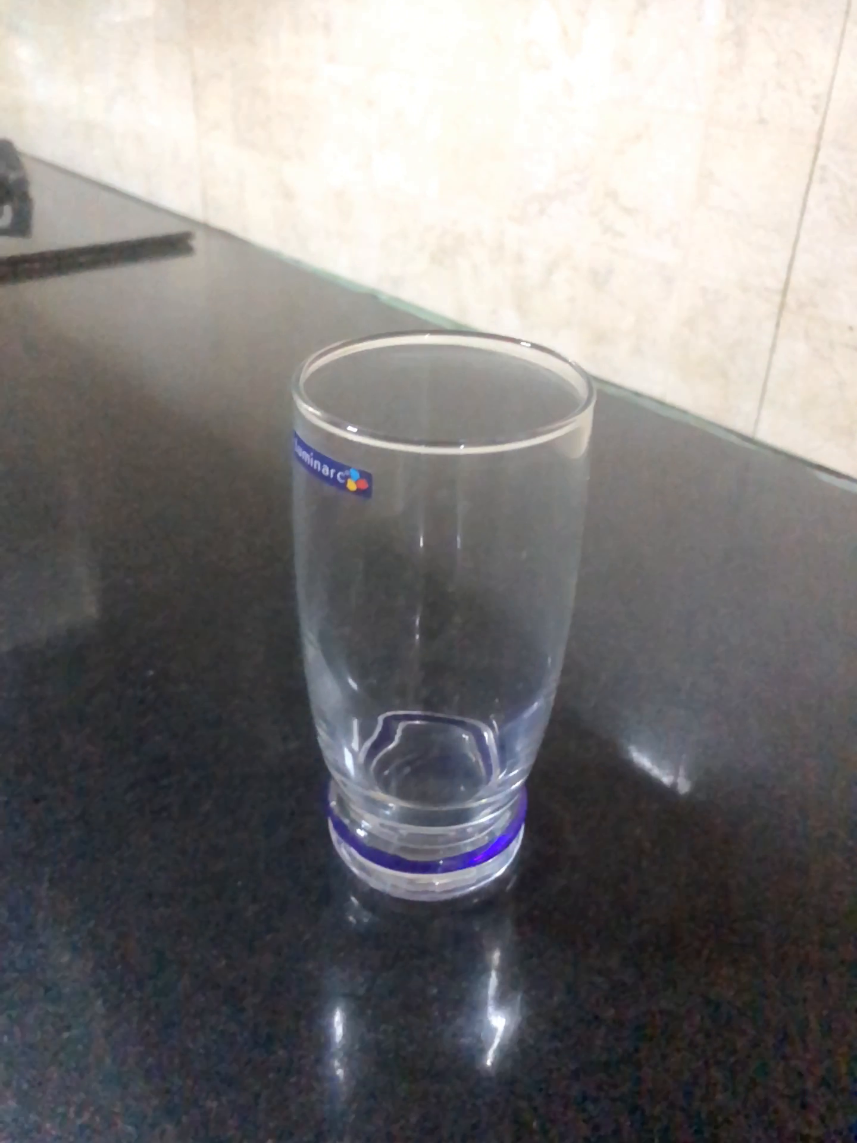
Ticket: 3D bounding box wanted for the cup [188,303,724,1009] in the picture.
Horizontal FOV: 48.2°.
[{"bbox_3d":[0.005,0.015,0.234,0.080,0.129,0.080,2,31,-1],"label":"cup"}]
